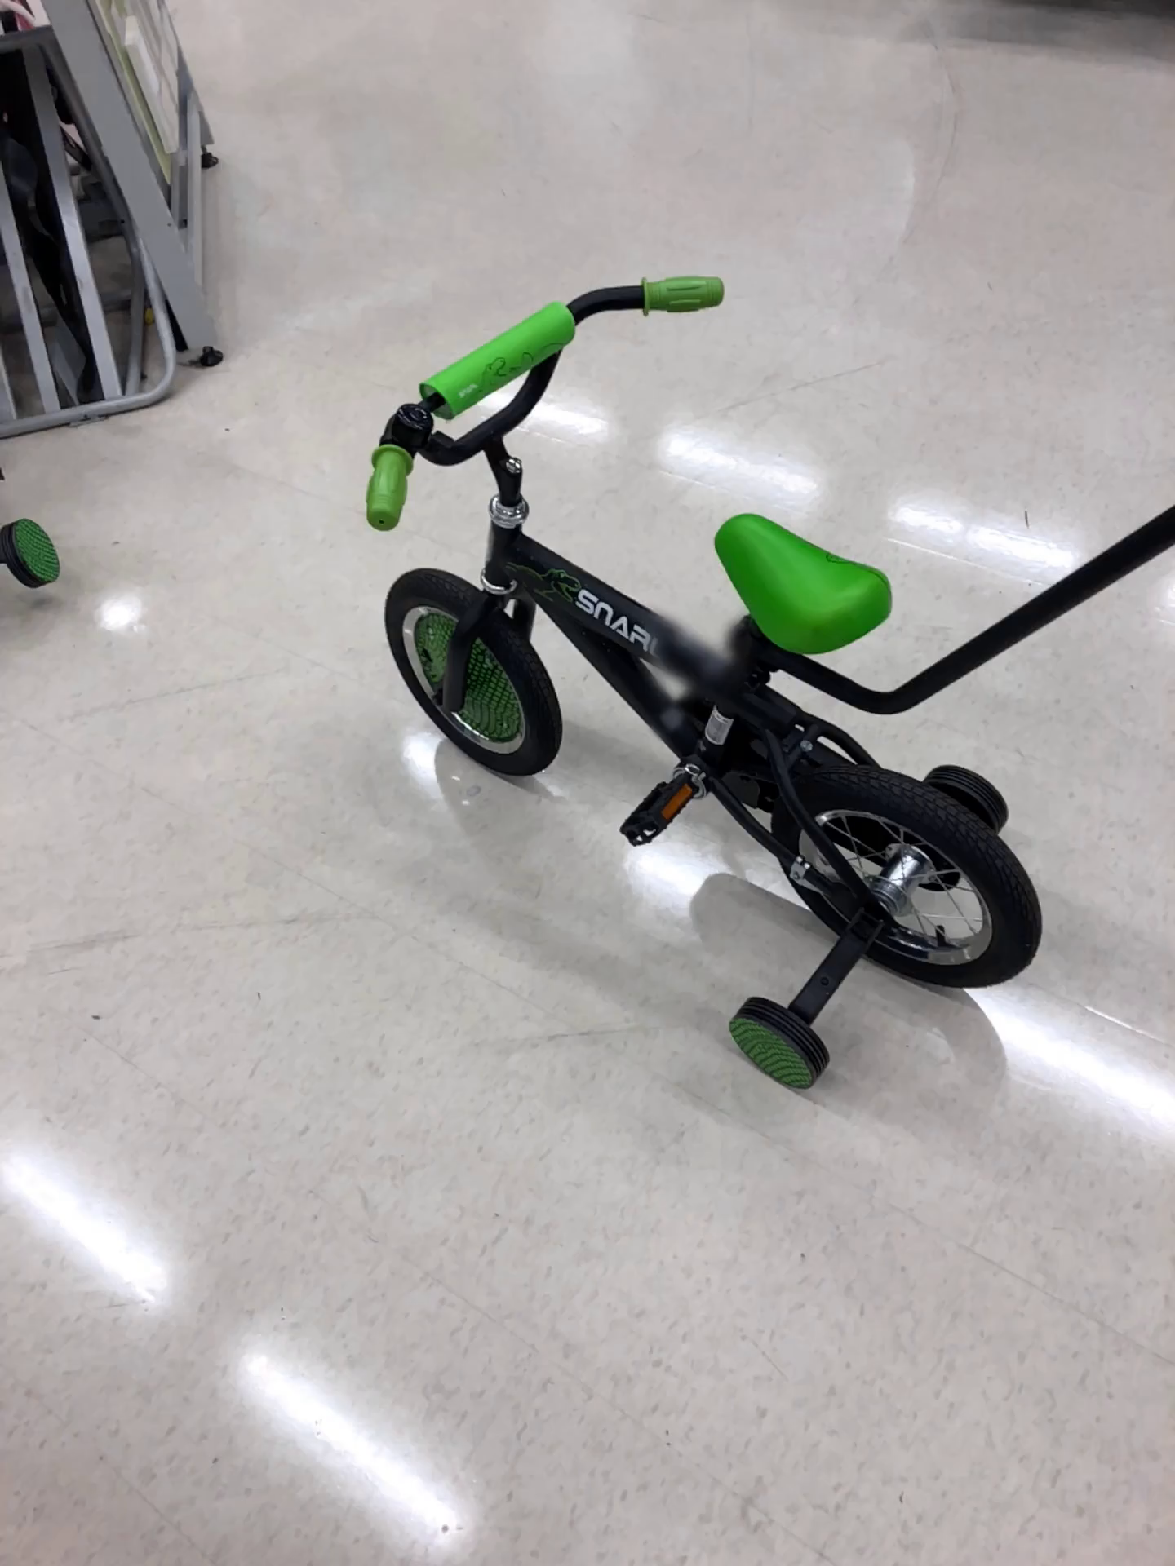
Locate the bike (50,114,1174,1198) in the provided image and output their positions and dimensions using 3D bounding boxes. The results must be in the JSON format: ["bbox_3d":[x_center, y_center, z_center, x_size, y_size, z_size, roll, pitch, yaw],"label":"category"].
[{"bbox_3d":[0.059,-0.150,1.286,0.849,0.600,0.491,29,61,26],"label":"bike"}]
